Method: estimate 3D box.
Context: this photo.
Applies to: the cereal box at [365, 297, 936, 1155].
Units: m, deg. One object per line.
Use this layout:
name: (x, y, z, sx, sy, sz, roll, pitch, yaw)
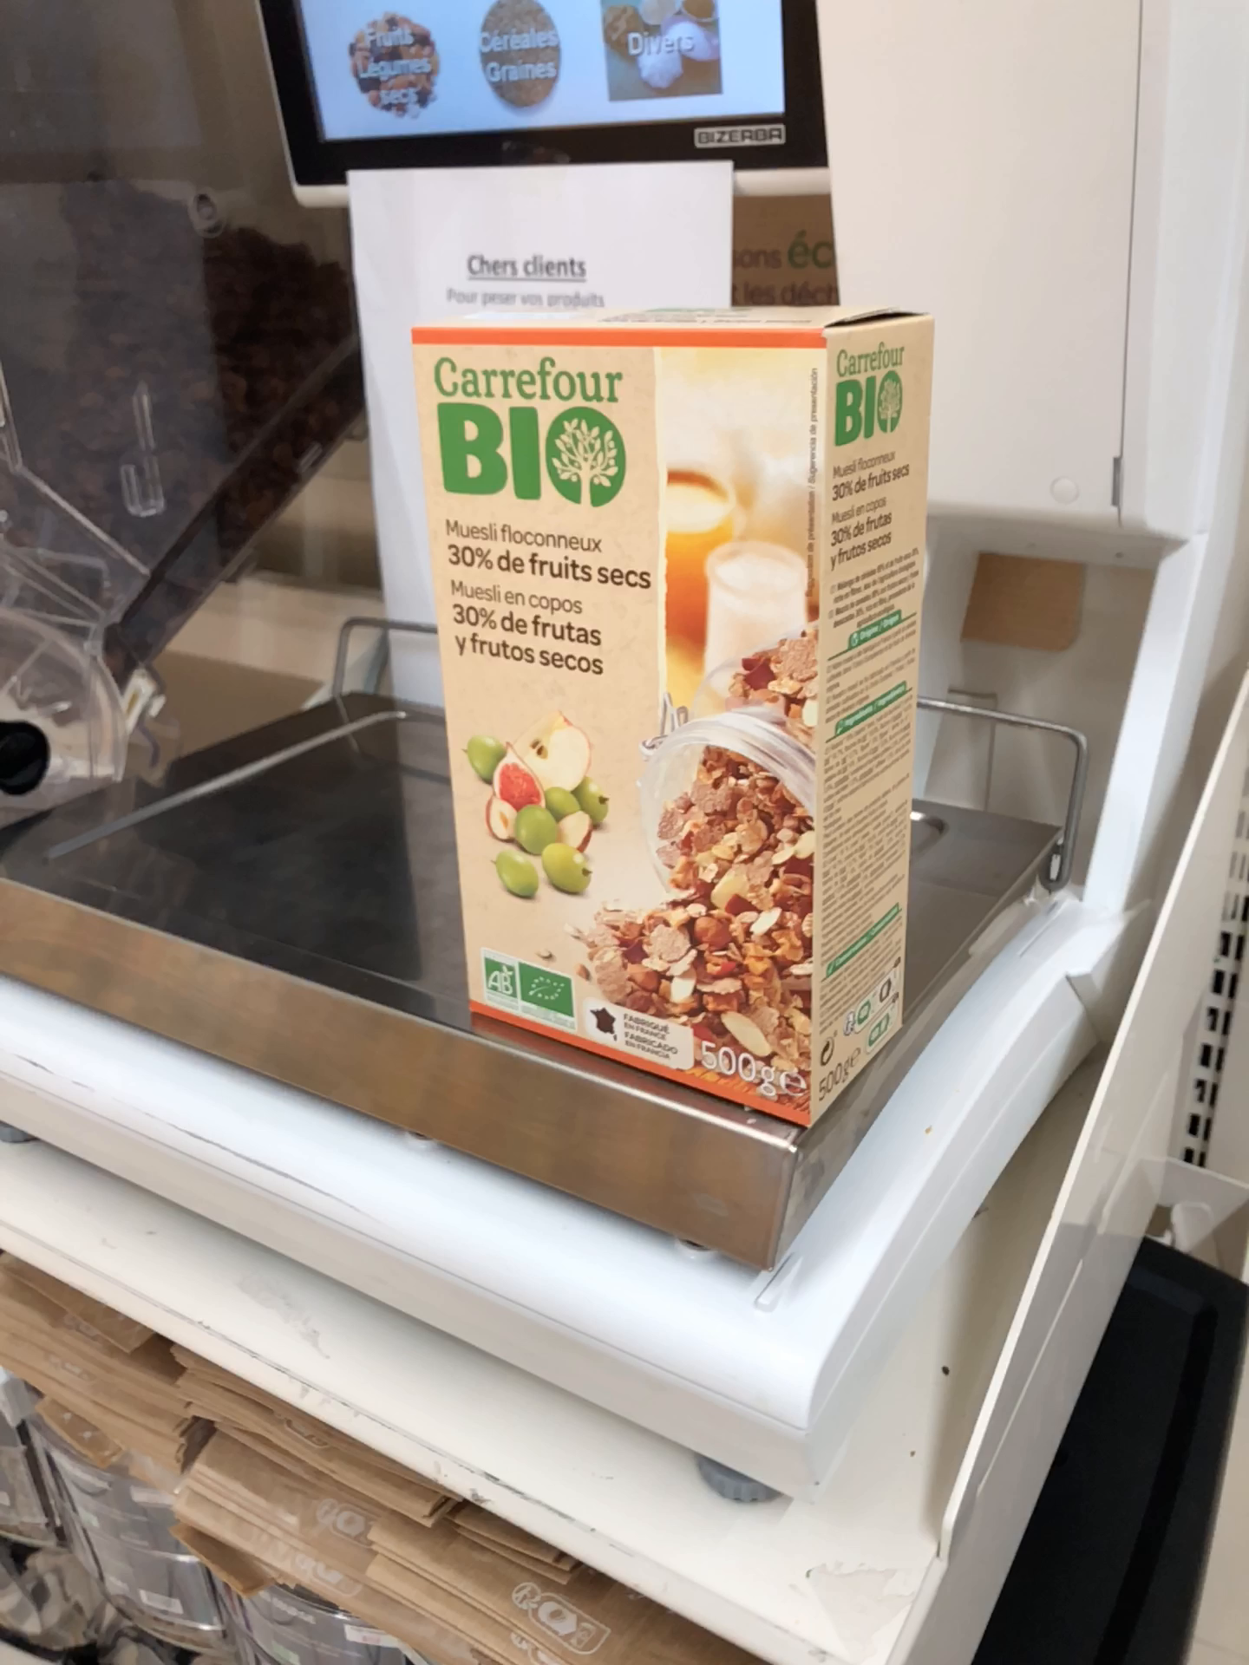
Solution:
cereal box: (0.009, -0.034, 0.383, 0.130, 0.209, 0.060, 13, 28, 32)
